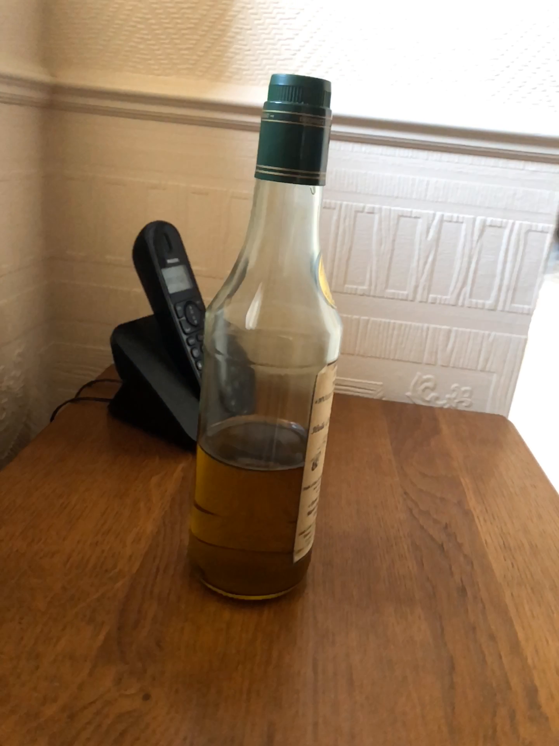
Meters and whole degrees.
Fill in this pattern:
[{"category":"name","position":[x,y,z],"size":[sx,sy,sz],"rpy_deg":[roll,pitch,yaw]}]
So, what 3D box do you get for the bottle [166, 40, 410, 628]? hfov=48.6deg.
[{"category":"bottle","position":[-0.002,-0.009,0.304],"size":[0.080,0.259,0.070],"rpy_deg":[7,20,2]}]
